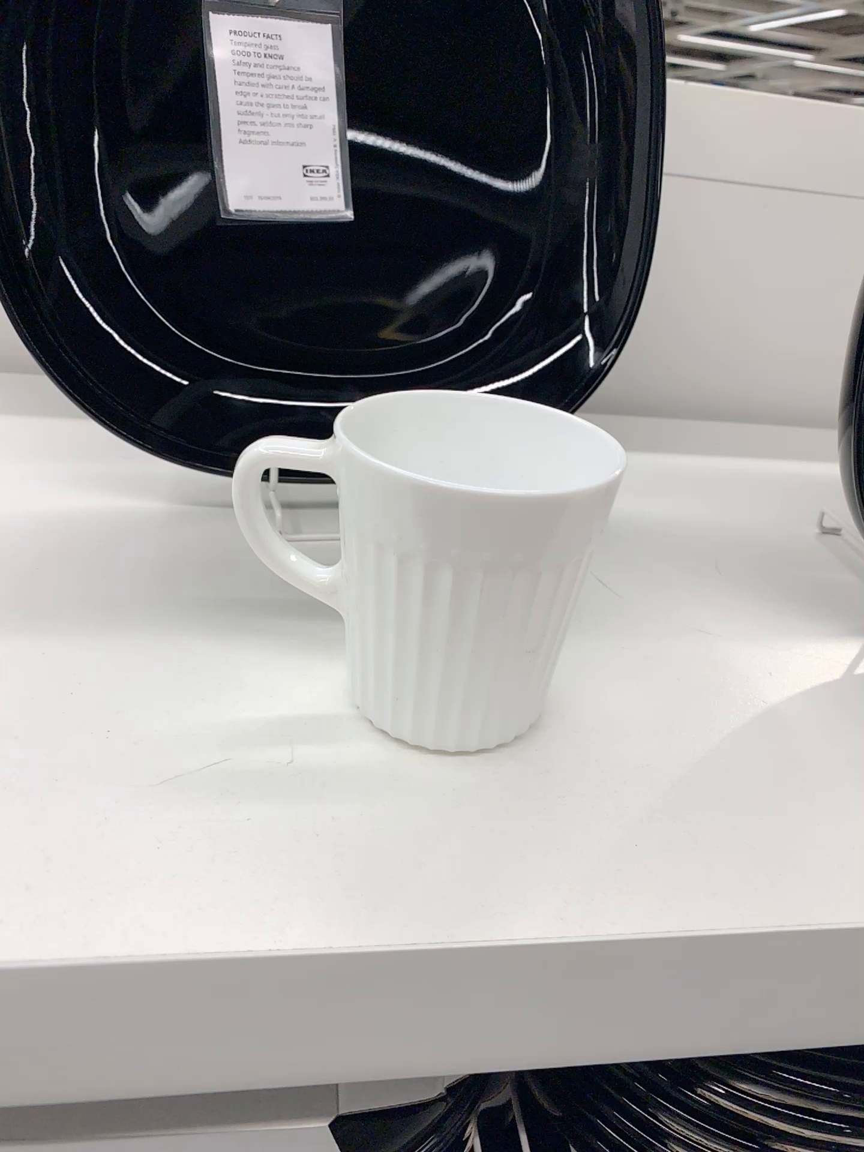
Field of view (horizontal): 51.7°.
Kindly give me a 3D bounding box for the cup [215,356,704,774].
[{"bbox_3d":[0.001,-0.007,0.257,0.110,0.080,0.090,5,26,-5],"label":"cup"}]
